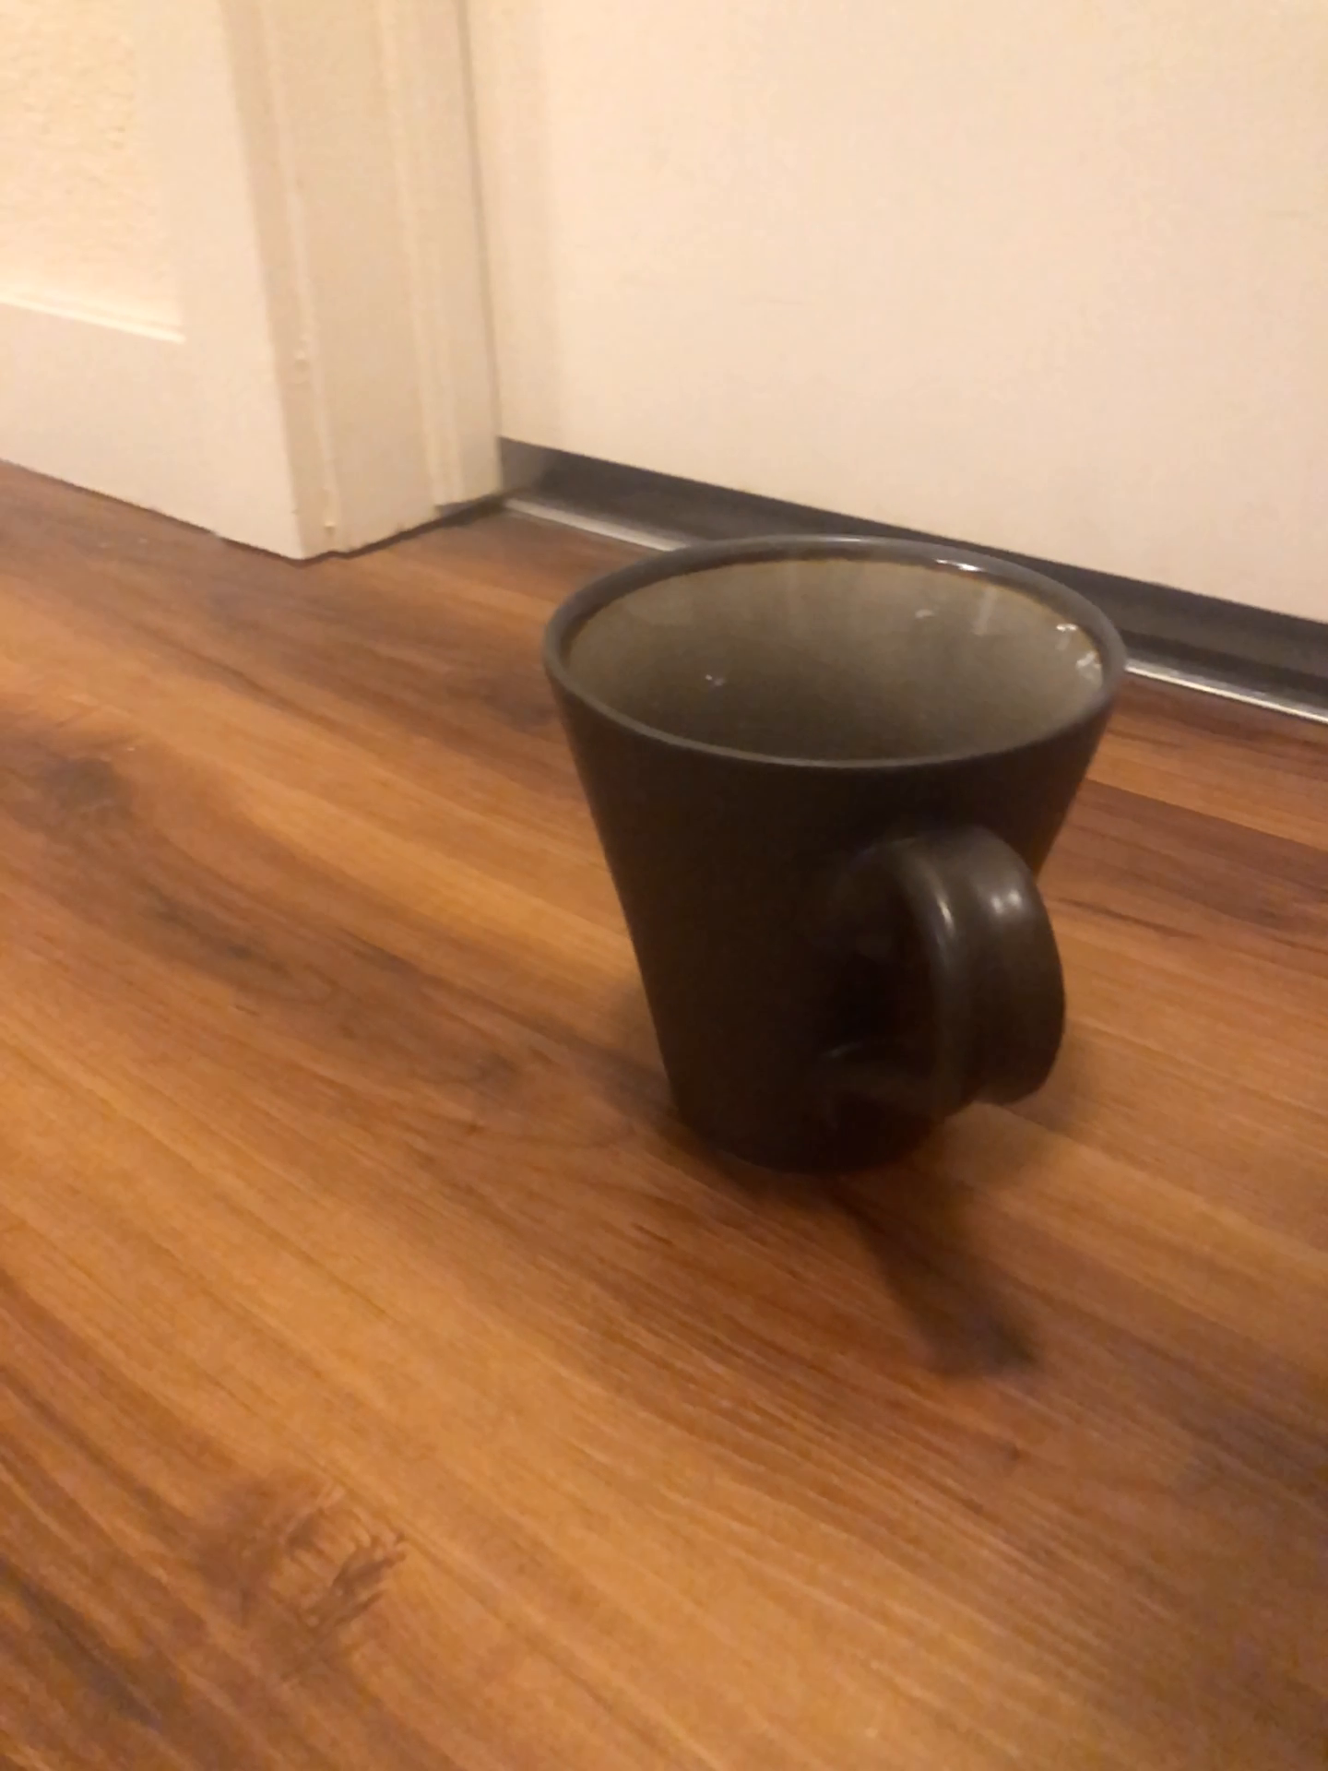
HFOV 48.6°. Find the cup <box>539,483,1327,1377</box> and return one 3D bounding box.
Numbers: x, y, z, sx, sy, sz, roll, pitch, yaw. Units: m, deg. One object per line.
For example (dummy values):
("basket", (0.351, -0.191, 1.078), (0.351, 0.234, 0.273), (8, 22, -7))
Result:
("cup", (0.046, -0.006, 0.299), (0.114, 0.100, 0.155), (-8, 32, -11))
